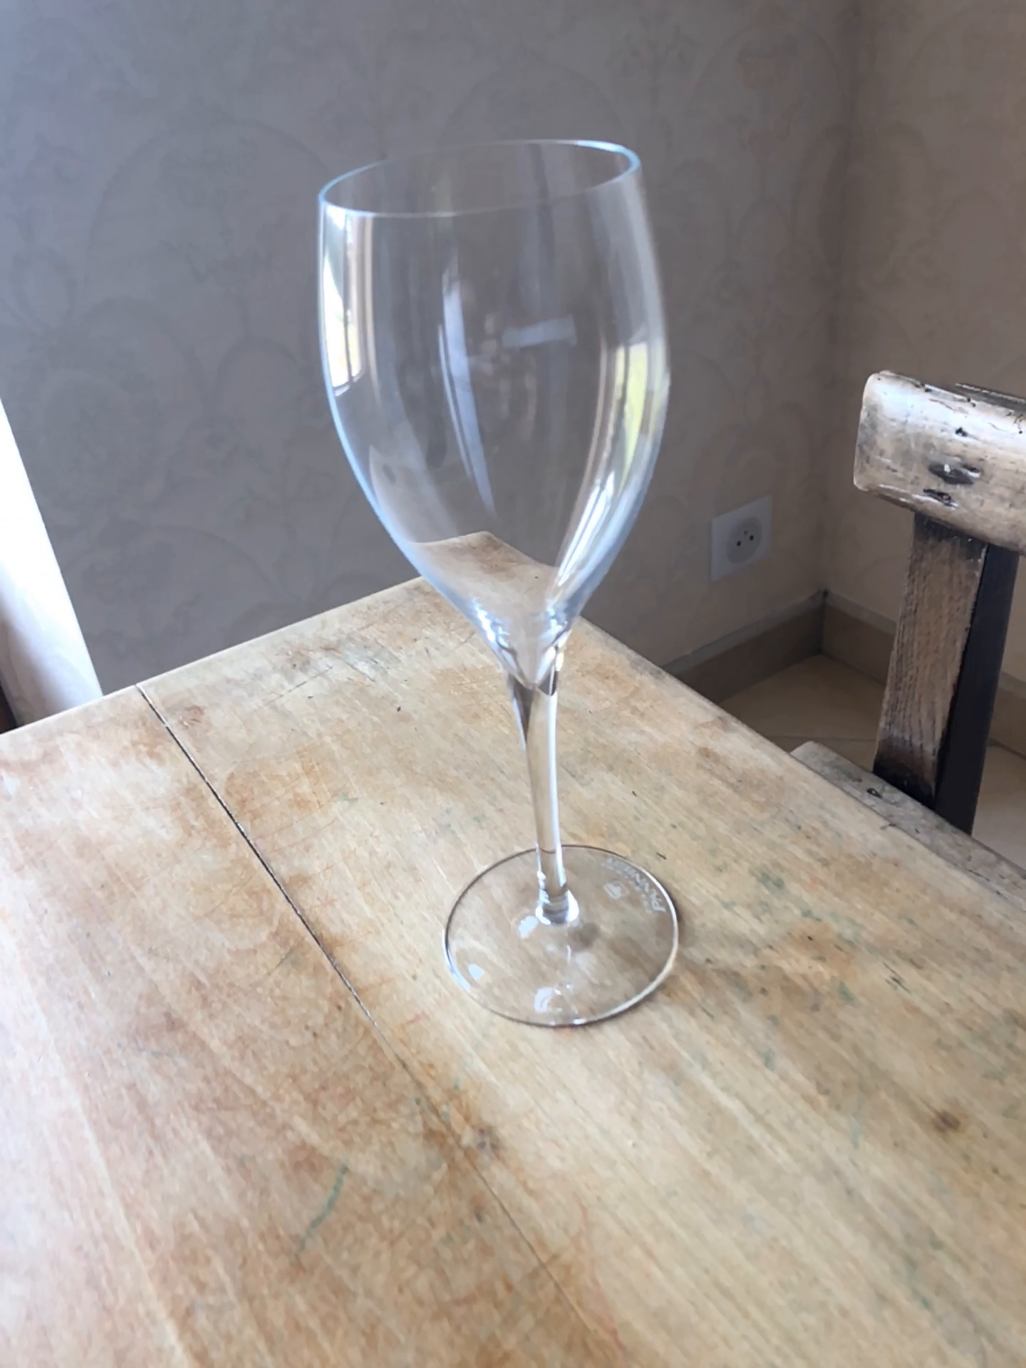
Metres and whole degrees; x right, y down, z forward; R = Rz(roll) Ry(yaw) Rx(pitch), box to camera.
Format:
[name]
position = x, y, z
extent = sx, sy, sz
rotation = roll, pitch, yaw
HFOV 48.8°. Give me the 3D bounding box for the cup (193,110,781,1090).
[cup]
position = 0.006, -0.016, 0.272
extent = 0.080, 0.209, 0.080
rotation = -4, 34, 3
